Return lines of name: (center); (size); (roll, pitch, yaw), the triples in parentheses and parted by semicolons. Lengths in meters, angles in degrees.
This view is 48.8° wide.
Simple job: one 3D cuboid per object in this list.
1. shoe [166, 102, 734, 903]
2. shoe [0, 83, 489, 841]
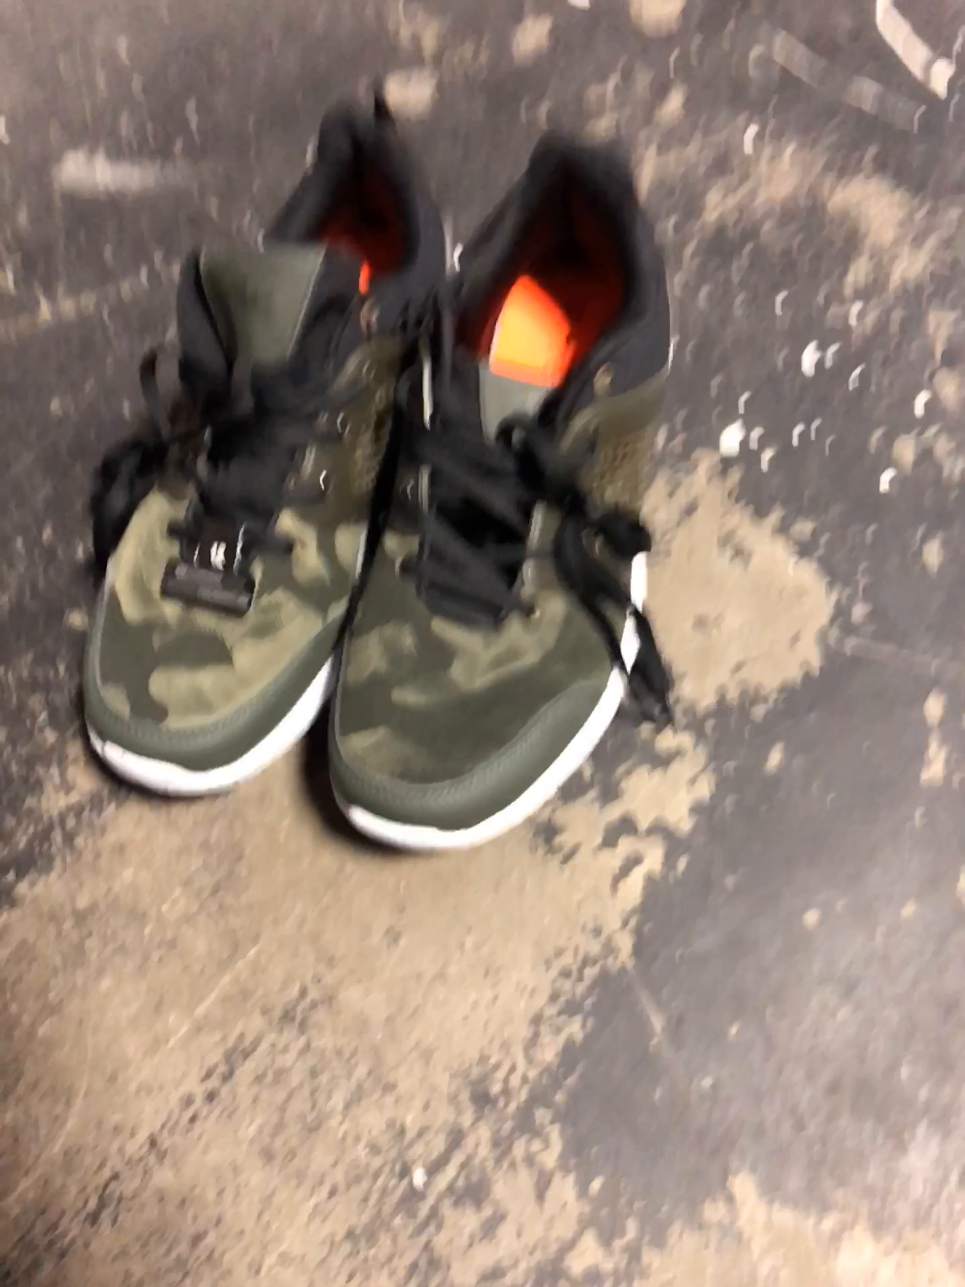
shoe: (0.005, -0.059, 0.419); (0.110, 0.129, 0.271); (15, 66, 12)
shoe: (-0.101, -0.086, 0.468); (0.110, 0.119, 0.301); (15, 66, 12)
